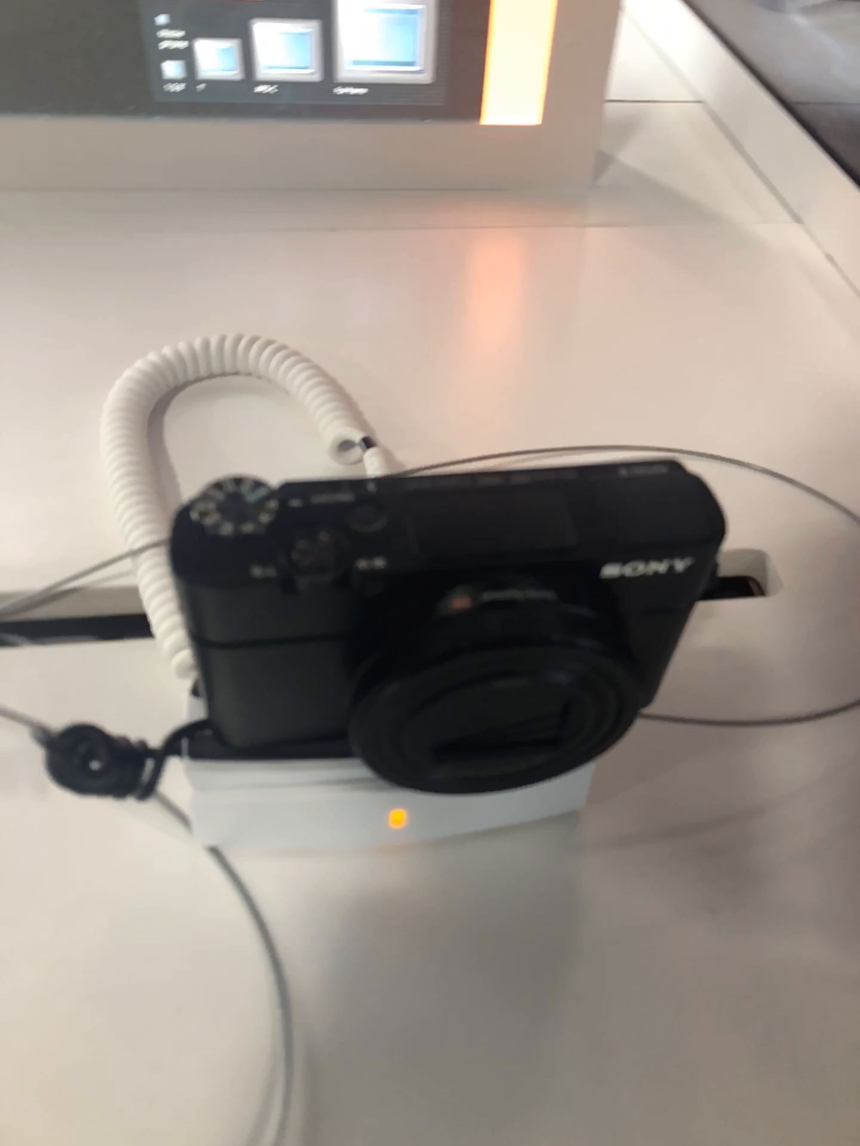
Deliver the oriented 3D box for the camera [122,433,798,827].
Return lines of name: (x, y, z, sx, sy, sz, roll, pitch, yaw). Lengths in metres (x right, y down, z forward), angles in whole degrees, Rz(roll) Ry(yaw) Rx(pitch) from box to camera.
camera: (0.003, 0.011, 0.184, 0.109, 0.060, 0.040, -4, 47, -7)
